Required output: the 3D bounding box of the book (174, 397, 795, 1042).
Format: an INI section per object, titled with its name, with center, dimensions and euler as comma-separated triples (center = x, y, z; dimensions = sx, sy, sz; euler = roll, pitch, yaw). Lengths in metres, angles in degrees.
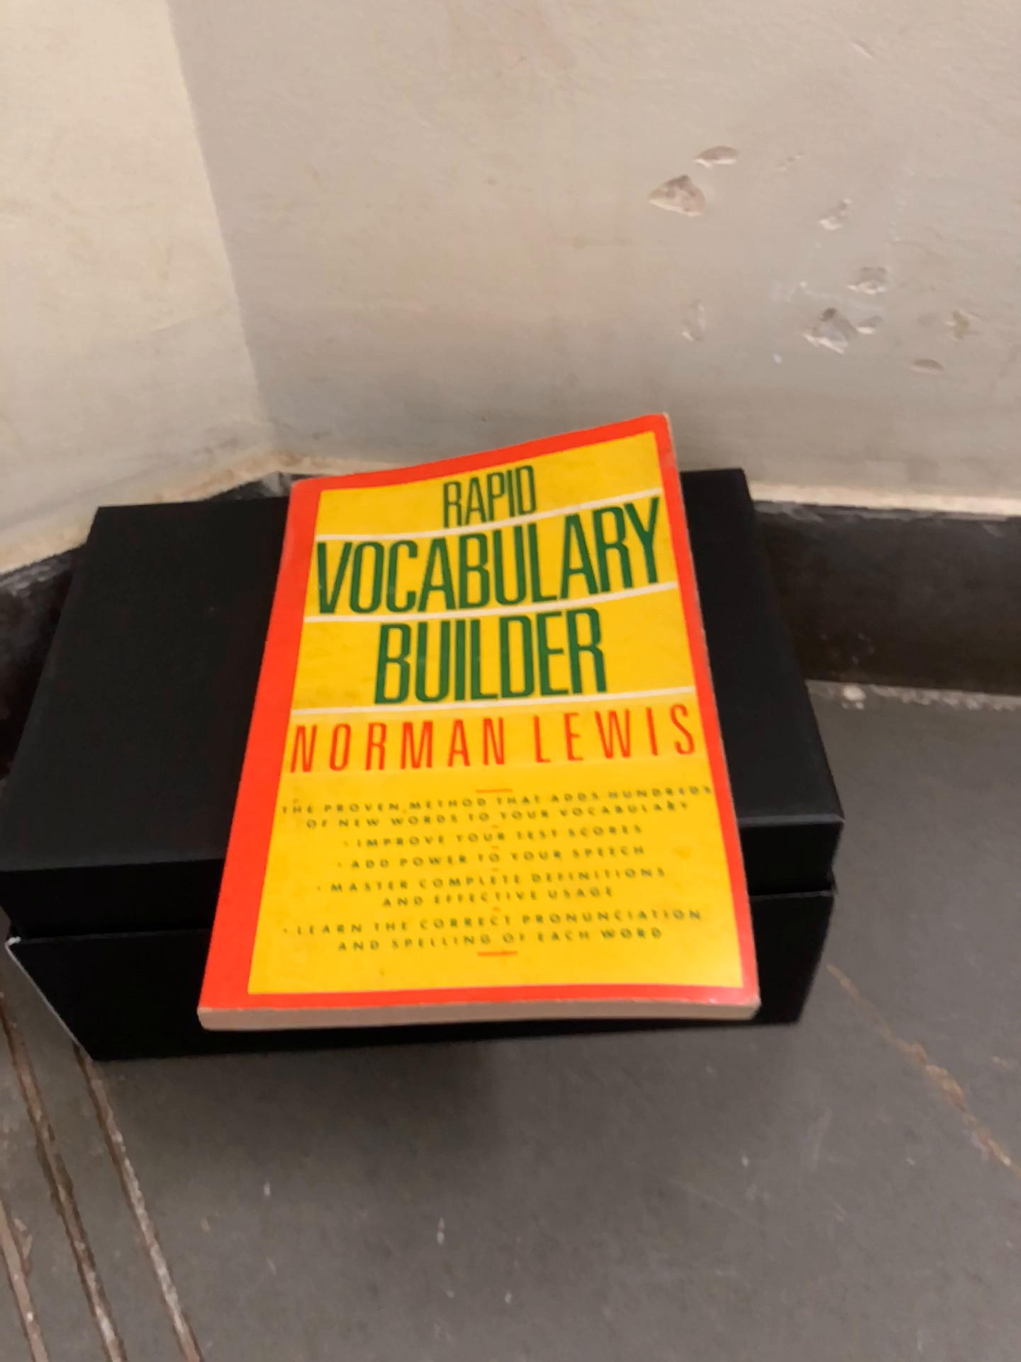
[book]
center = -0.005, -0.007, 0.349
dimensions = 0.140, 0.030, 0.231
euler = -2, 46, 2
